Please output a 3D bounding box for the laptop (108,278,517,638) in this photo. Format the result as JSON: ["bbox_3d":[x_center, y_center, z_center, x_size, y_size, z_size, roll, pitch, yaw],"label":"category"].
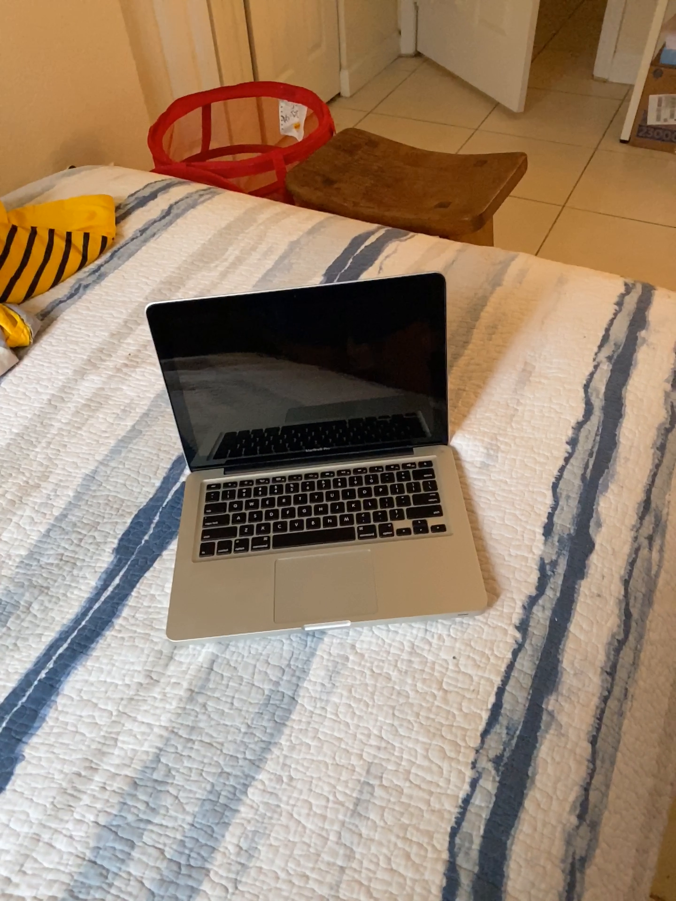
[{"bbox_3d":[-0.025,0.002,0.703,0.318,0.199,0.279,-6,46,1],"label":"laptop"}]
